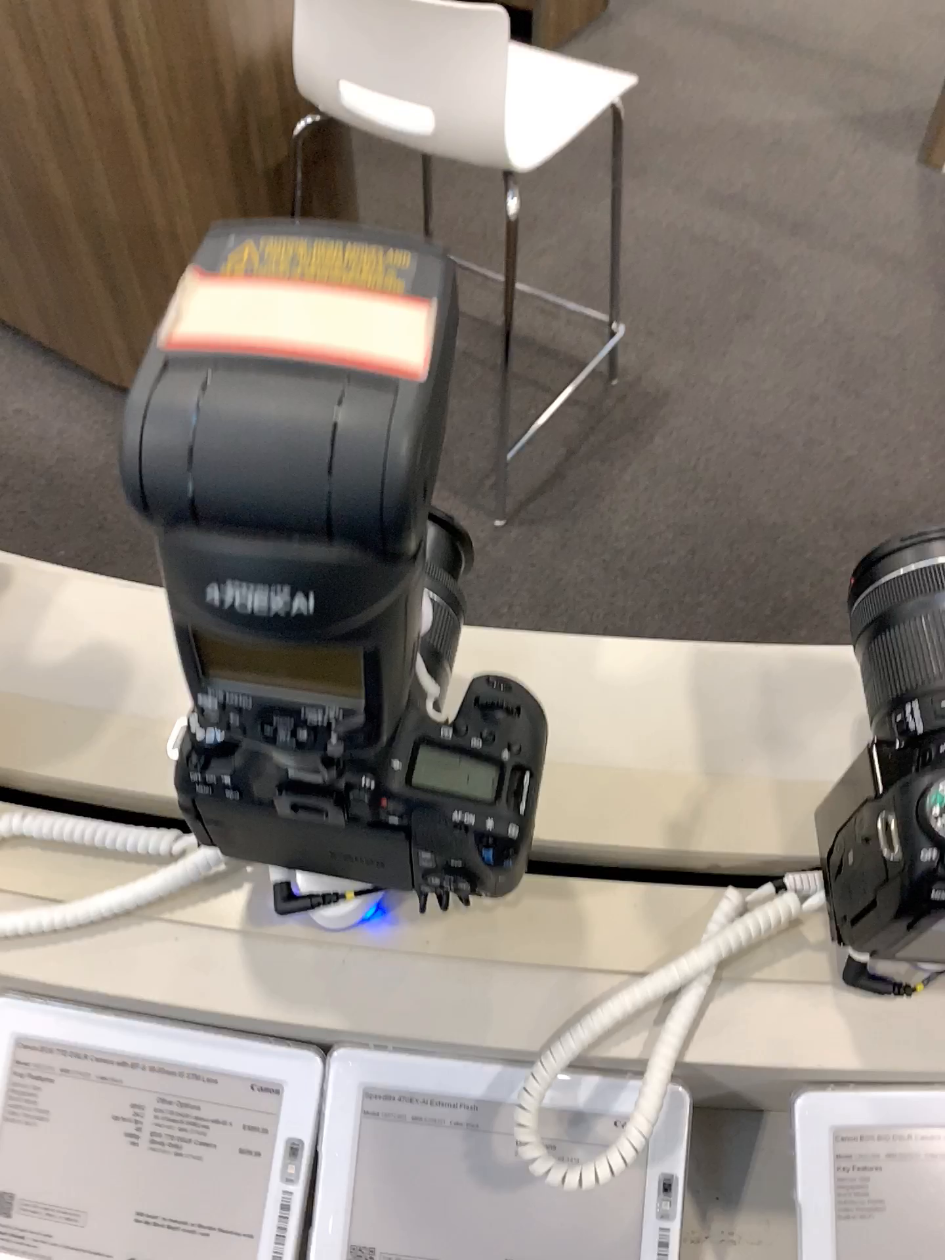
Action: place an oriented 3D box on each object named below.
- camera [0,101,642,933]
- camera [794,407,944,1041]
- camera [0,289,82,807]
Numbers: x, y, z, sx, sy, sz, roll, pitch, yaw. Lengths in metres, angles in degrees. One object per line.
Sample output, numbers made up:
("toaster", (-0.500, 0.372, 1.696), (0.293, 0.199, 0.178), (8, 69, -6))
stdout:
("camera", (-0.038, -0.027, 0.343), (0.150, 0.219, 0.171), (9, 54, 6))
("camera", (0.209, 0.027, 0.346), (0.140, 0.099, 0.191), (4, 54, 3))
("camera", (-0.302, -0.044, 0.442), (0.140, 0.099, 0.201), (9, 54, 7))
